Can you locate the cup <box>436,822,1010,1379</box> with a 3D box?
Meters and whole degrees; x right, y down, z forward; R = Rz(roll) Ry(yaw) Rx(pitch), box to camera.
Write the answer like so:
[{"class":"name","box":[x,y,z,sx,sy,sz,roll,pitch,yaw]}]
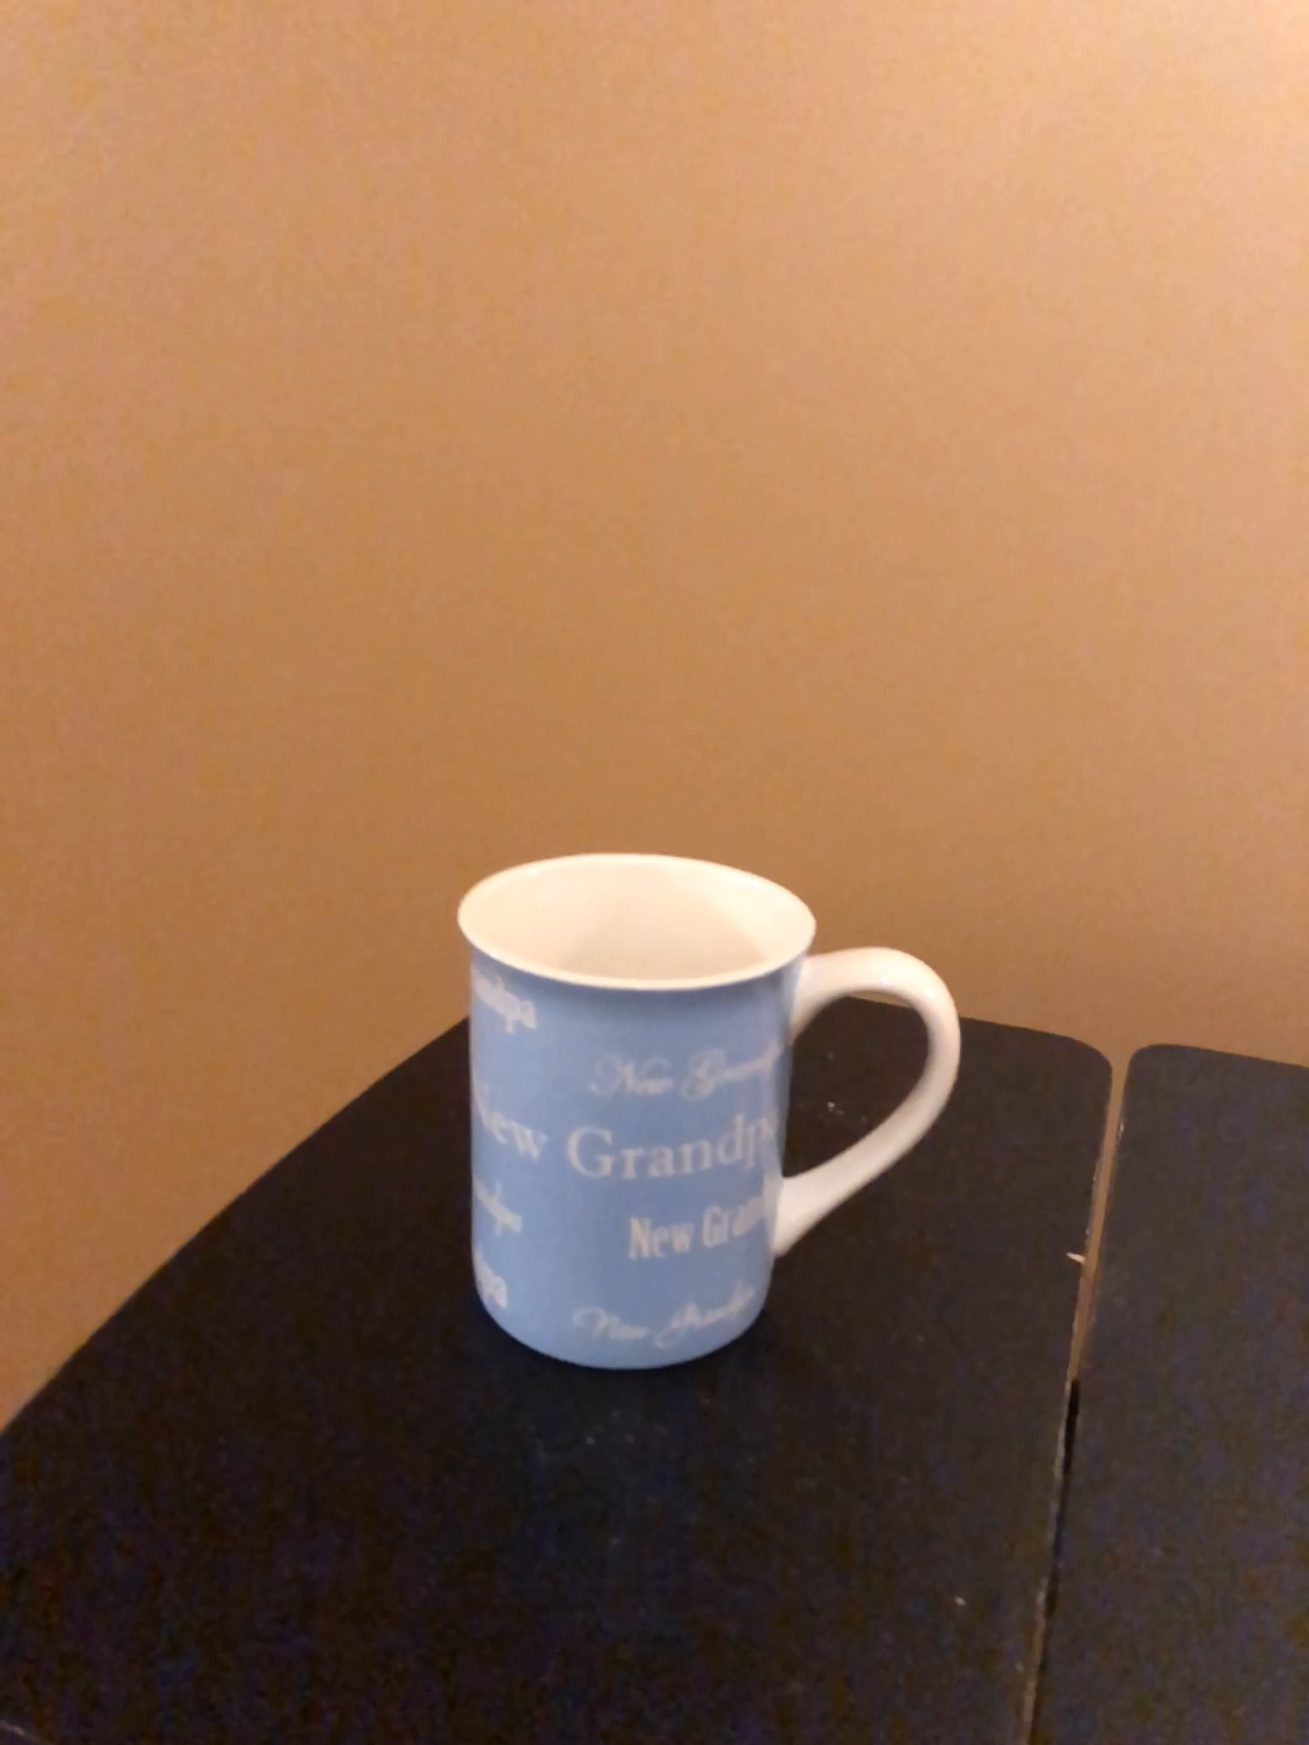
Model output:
[{"class":"cup","box":[0.013,0.056,0.391,0.130,0.110,0.100,2,19,-2]}]
